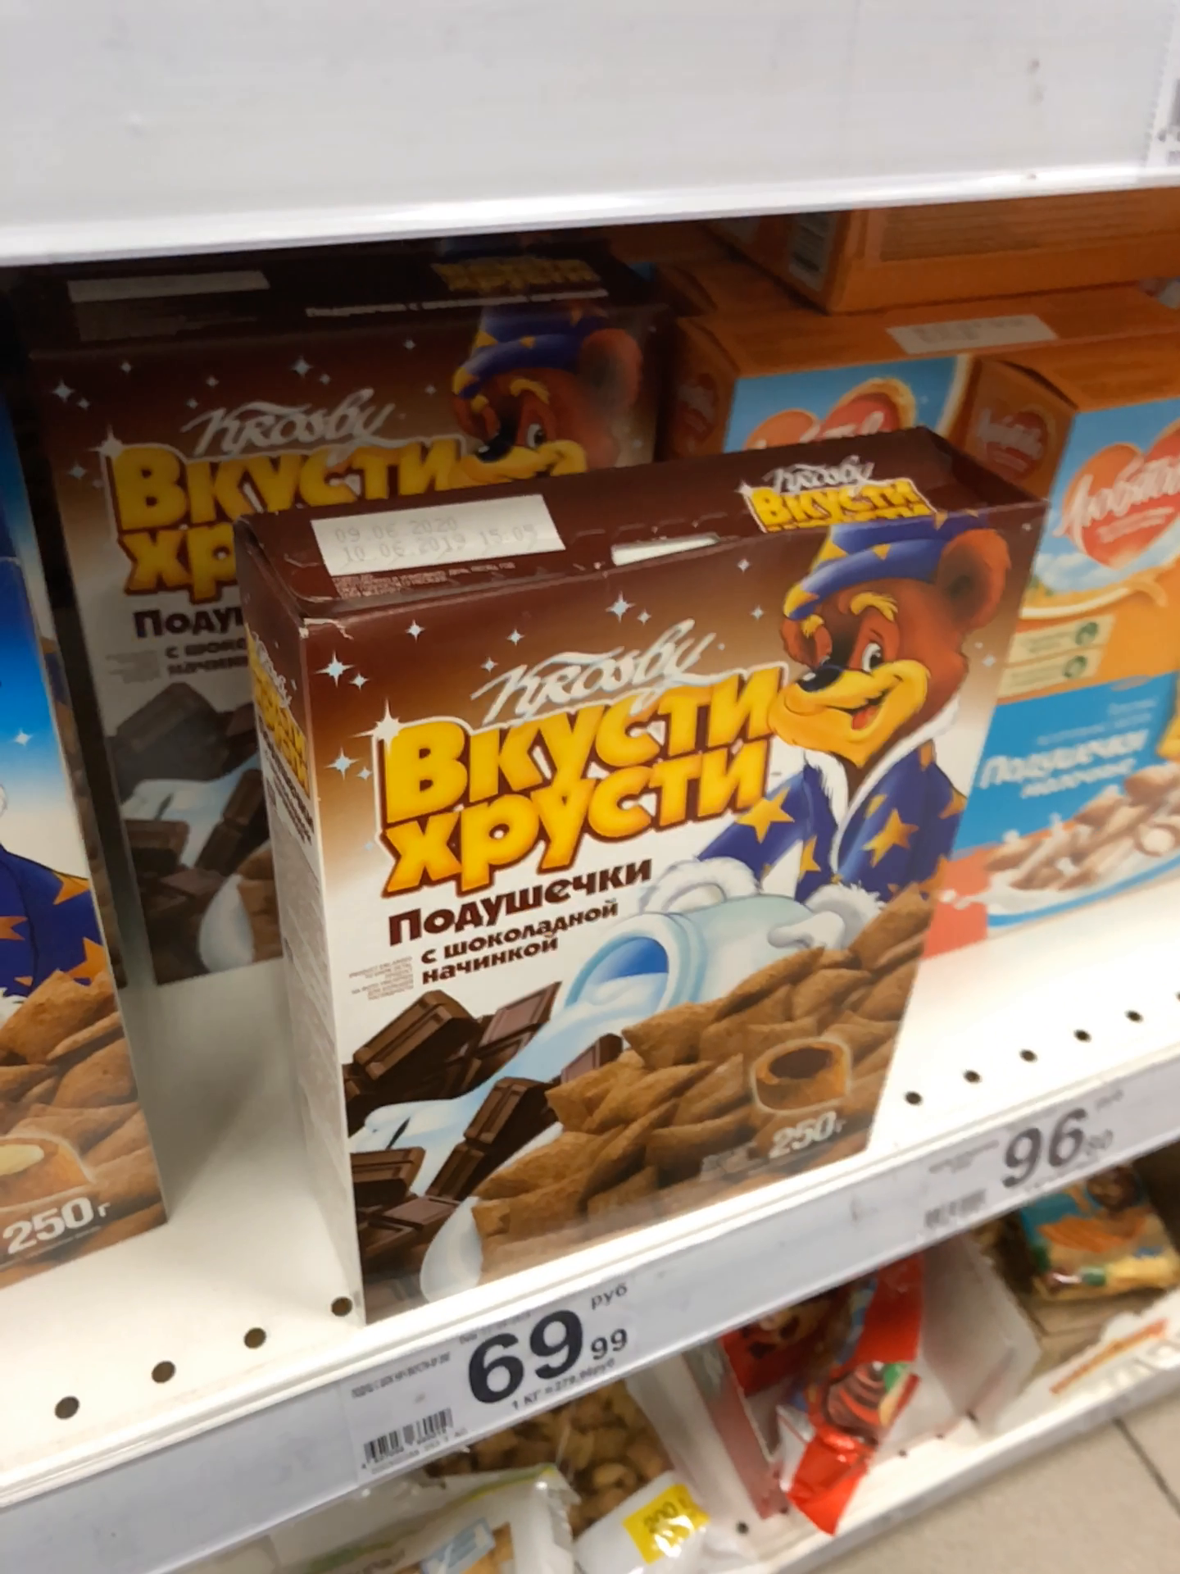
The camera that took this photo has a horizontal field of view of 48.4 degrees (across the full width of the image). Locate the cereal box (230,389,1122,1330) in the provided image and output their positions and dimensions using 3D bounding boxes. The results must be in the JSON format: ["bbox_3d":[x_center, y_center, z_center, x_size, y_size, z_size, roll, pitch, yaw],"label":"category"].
[{"bbox_3d":[0.015,0.026,0.339,0.180,0.229,0.050,-12,41,-20],"label":"cereal box"}]
